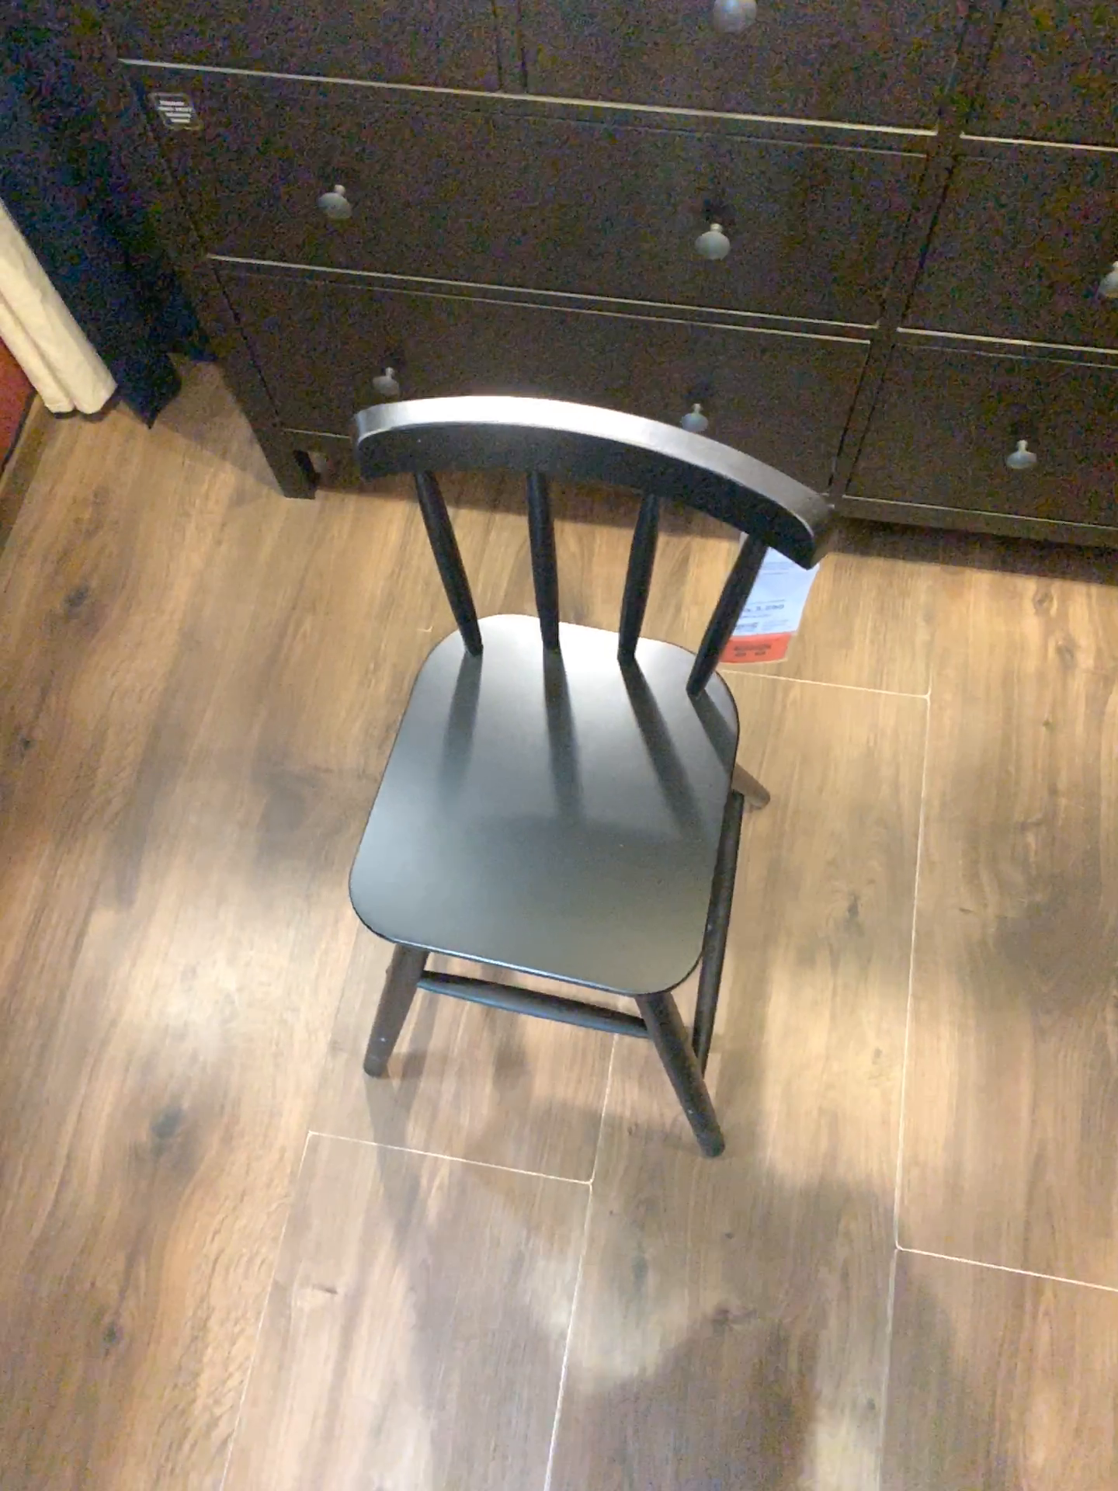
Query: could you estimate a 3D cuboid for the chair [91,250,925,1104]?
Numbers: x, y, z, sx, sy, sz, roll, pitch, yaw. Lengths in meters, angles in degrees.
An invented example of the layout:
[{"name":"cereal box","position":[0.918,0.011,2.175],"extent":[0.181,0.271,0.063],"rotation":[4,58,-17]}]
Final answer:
[{"name":"chair","position":[0.007,0.040,1.133],"extent":[0.450,0.849,0.470],"rotation":[10,70,7]}]
